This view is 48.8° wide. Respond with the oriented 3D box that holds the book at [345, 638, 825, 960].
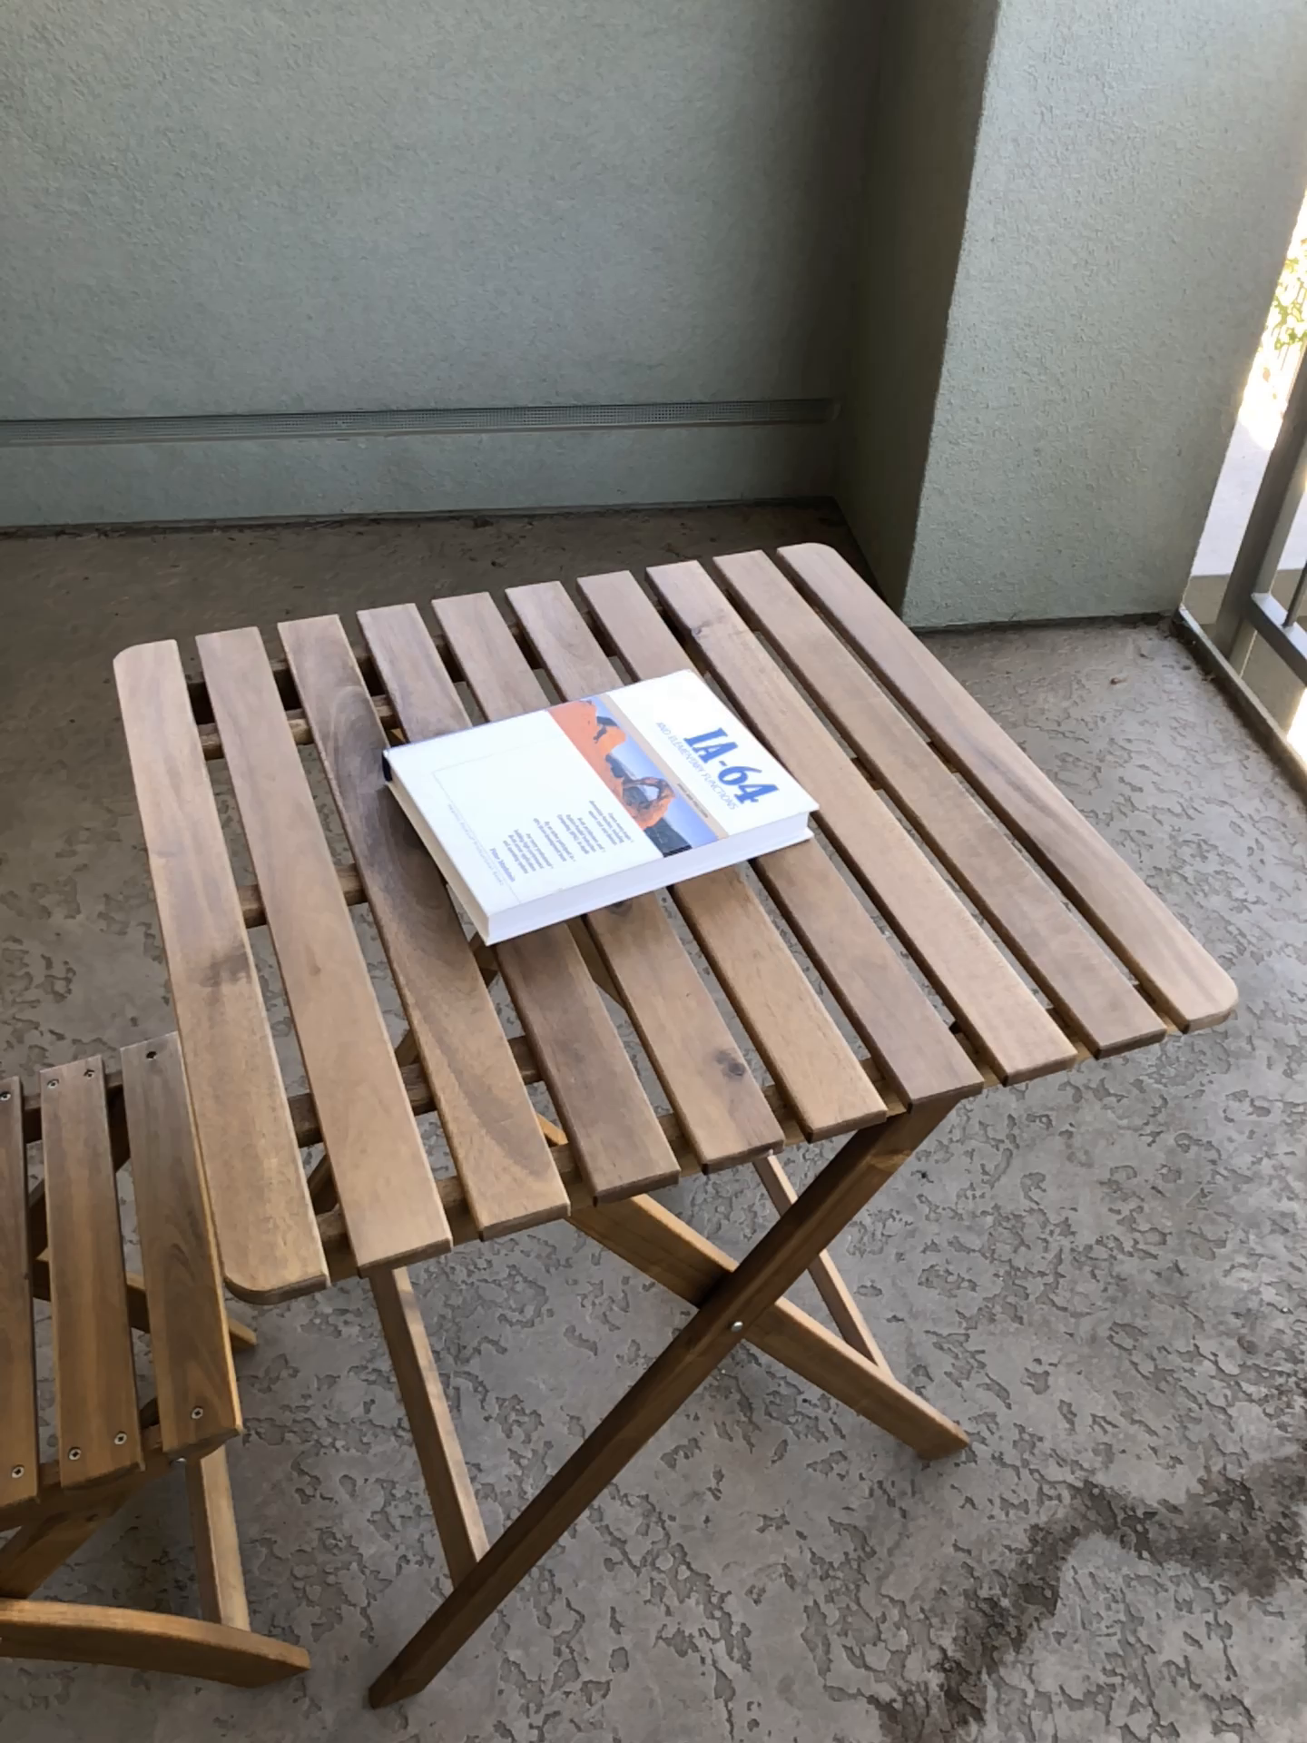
[{"bbox_3d":[-0.049,-0.059,0.947,0.250,0.040,0.201,-18,45,-20],"label":"book"}]
